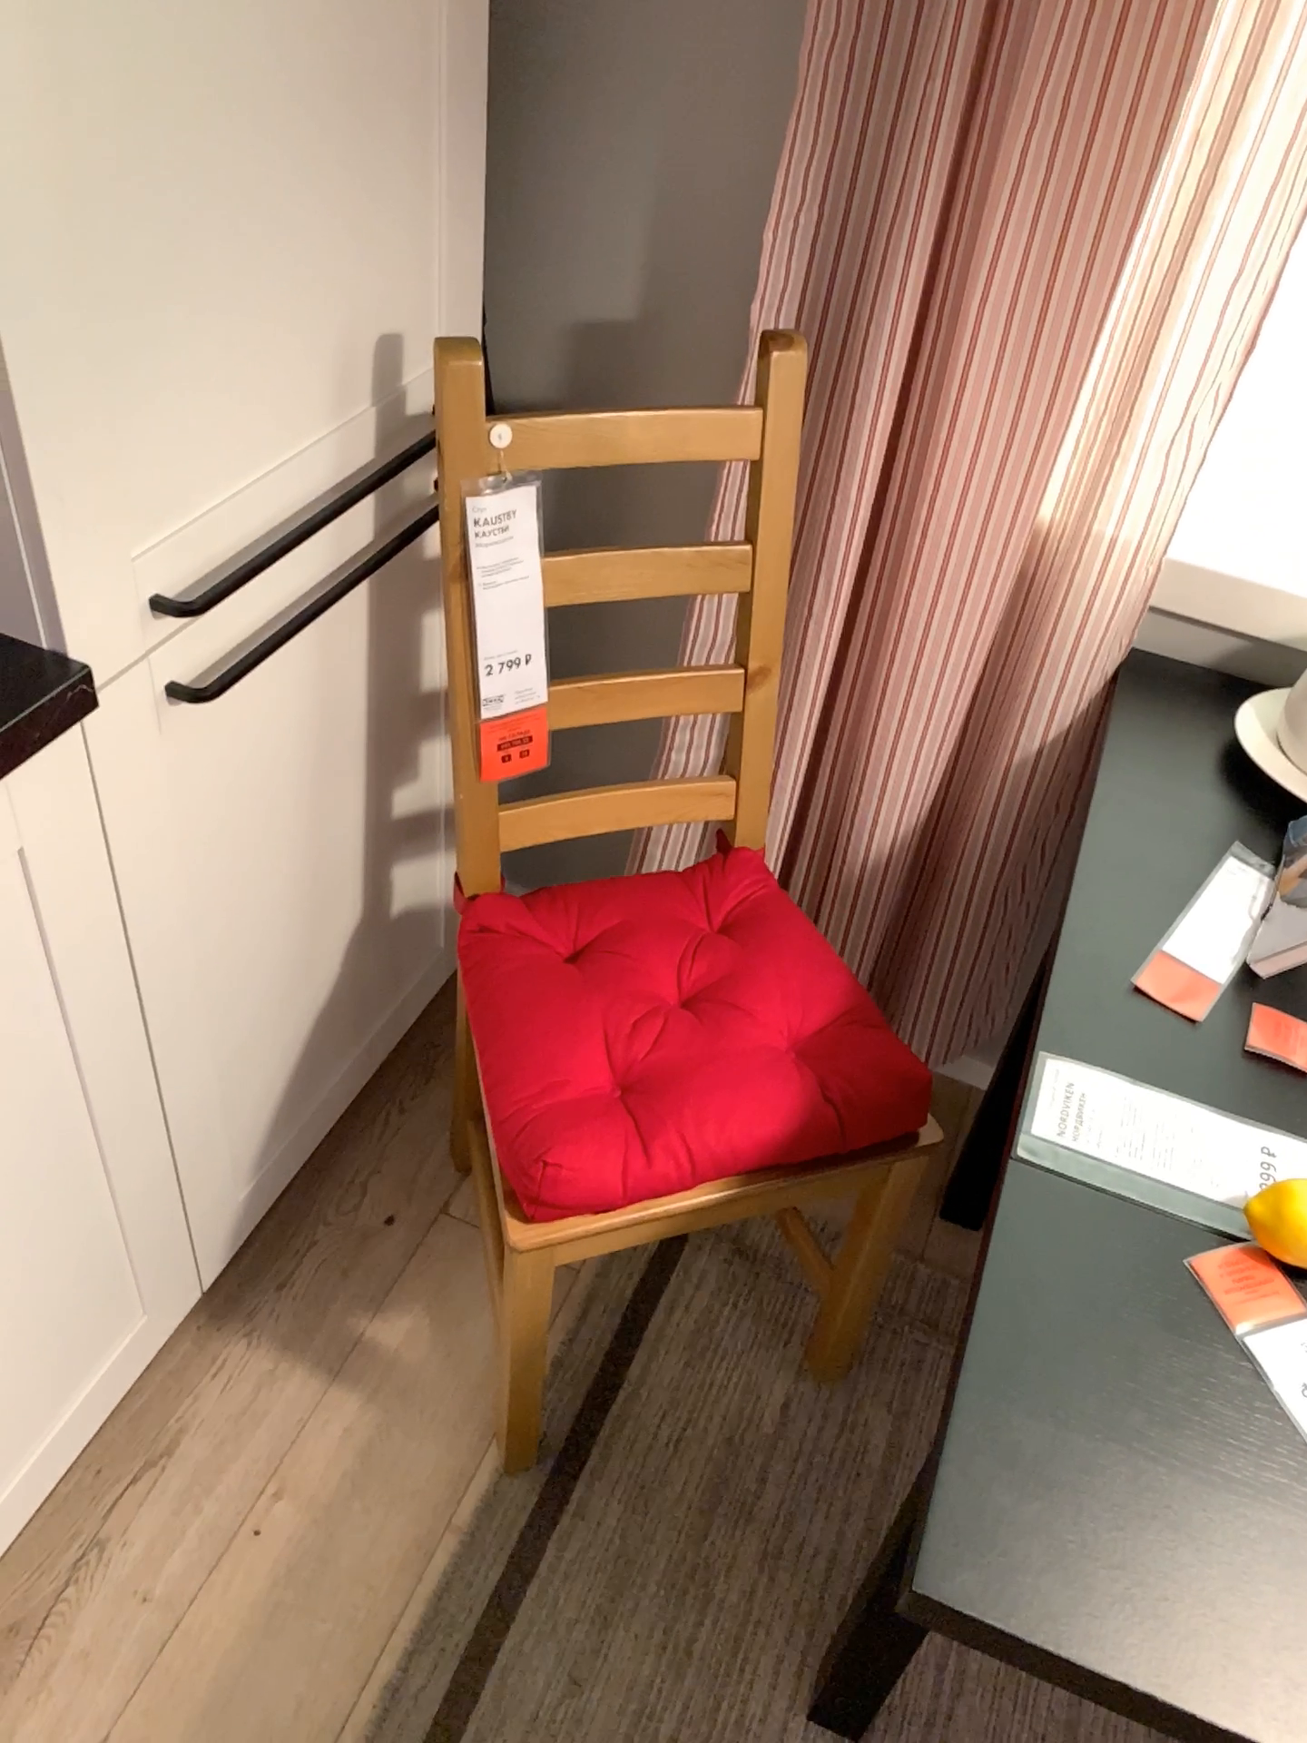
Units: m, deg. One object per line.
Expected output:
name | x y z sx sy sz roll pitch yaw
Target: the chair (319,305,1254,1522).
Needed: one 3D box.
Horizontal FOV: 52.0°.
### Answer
chair | 0.006 0.069 1.337 0.501 1.015 0.582 -11 45 -20
